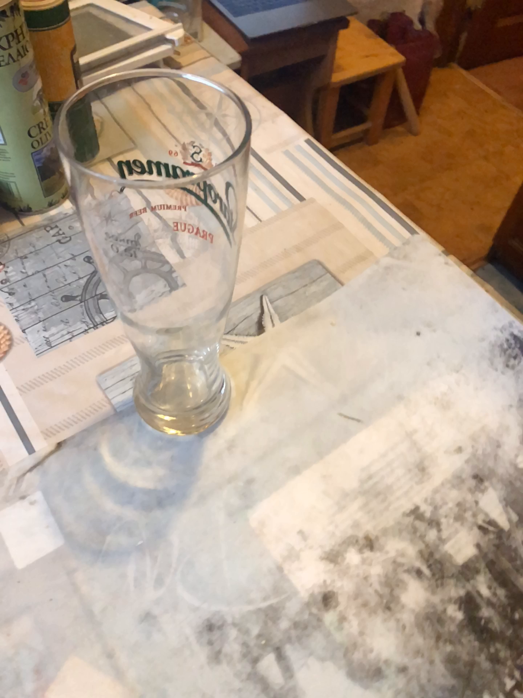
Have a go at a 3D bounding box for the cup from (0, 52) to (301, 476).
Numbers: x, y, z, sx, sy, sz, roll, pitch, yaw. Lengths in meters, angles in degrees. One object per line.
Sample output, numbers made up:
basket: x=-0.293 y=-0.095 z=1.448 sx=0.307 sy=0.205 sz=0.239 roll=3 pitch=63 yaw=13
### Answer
cup: x=-0.051 y=-0.031 z=0.314 sx=0.089 sy=0.192 sz=0.099 roll=27 pitch=57 yaw=15
